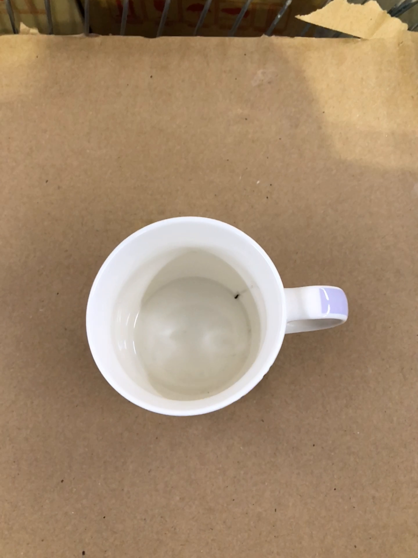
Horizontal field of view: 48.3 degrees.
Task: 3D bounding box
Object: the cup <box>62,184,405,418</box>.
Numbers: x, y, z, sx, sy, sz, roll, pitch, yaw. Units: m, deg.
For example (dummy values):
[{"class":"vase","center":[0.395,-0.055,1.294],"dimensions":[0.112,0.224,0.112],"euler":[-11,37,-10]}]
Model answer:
[{"class":"cup","center":[0.007,0.017,0.246],"dimensions":[0.140,0.090,0.090],"euler":[-6,76,-1]}]
